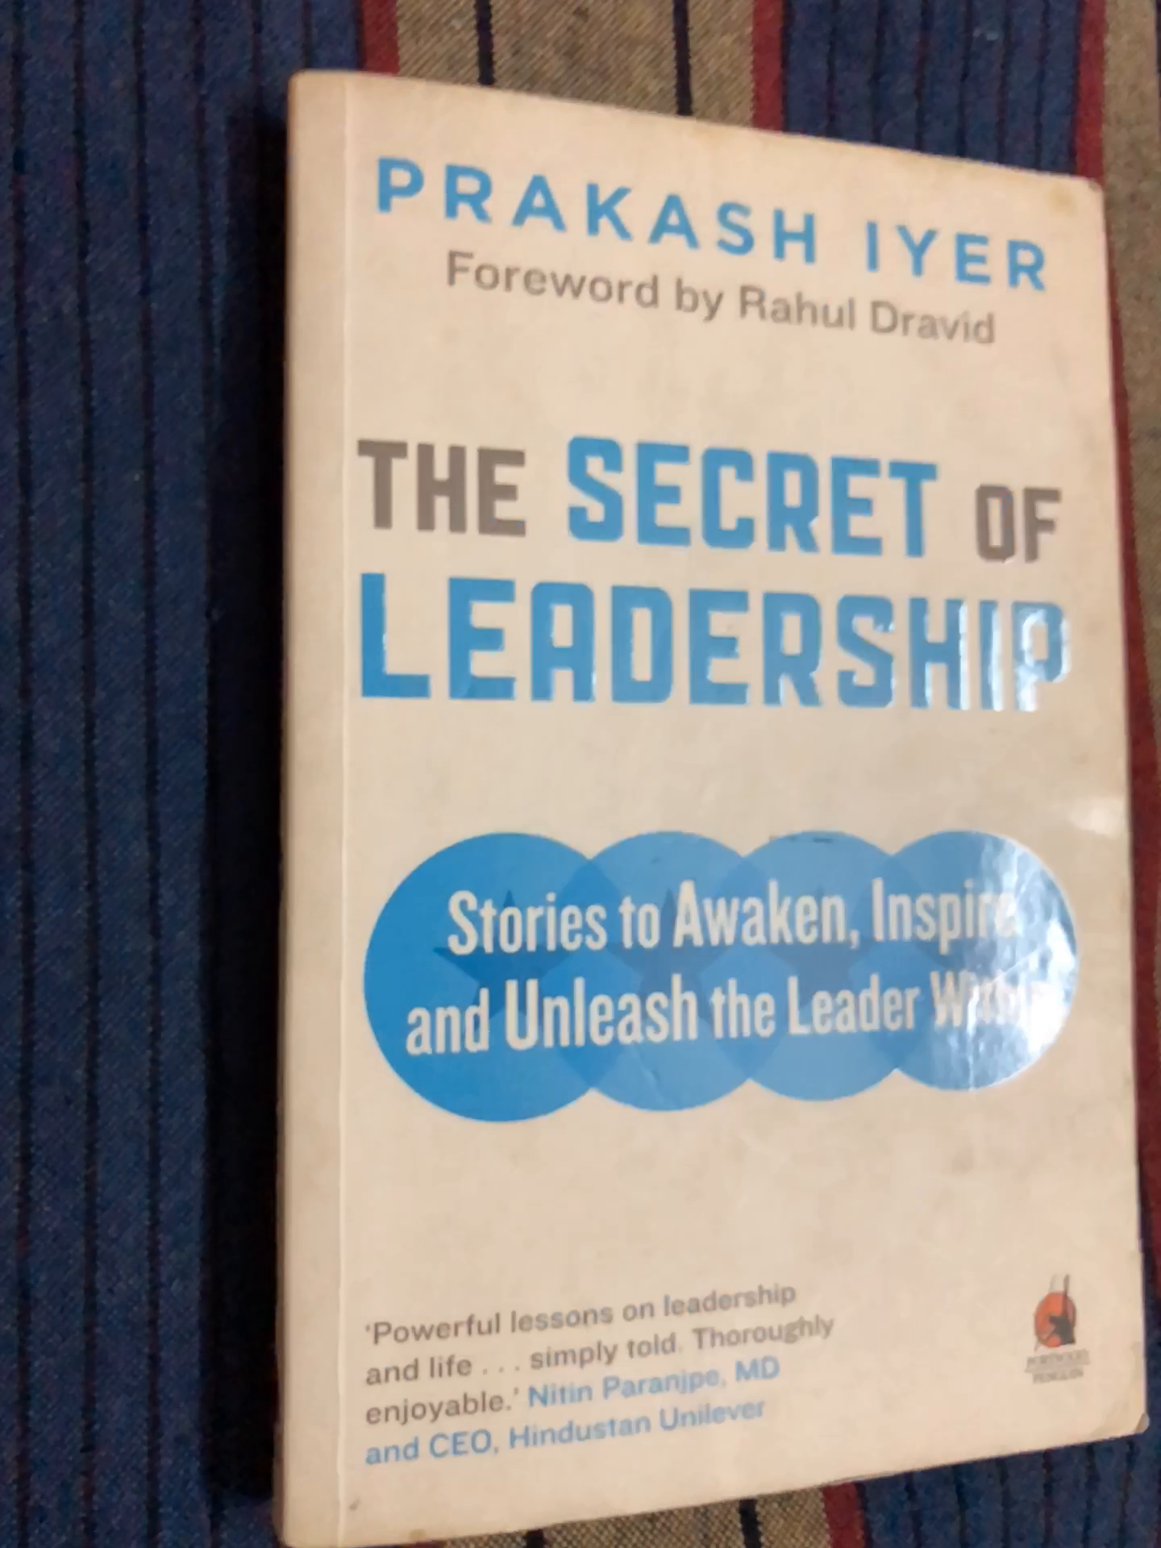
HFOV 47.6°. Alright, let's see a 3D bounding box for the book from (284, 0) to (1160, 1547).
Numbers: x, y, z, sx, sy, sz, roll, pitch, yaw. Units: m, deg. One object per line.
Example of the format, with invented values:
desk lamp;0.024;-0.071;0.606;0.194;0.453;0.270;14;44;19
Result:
book;0.031;-0.004;0.186;0.140;0.030;0.190;1;85;-17
